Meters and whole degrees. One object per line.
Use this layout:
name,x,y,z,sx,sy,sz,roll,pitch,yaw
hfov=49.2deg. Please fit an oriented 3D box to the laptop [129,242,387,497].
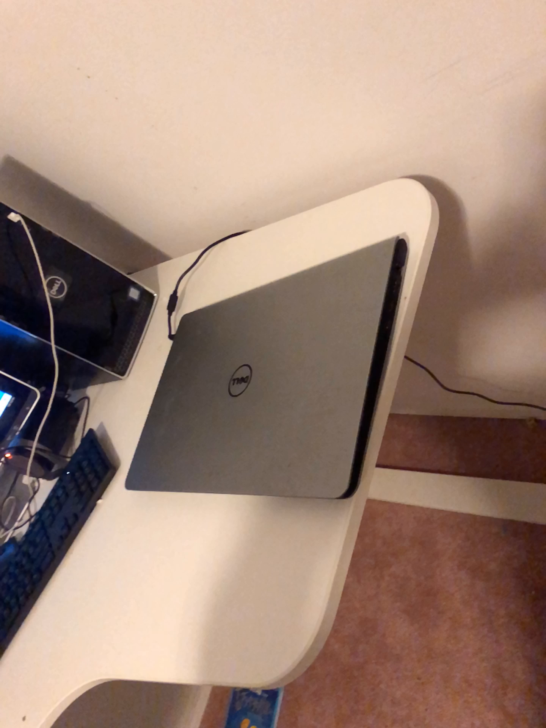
laptop,-0.037,0.019,0.665,0.373,0.001,0.247,-12,56,50
